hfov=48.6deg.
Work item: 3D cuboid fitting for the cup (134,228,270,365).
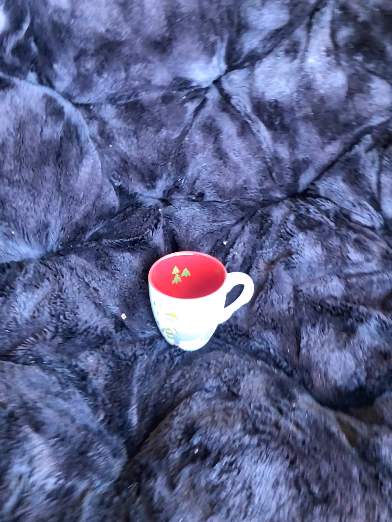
[{"bbox_3d":[0.004,0.044,0.567,0.140,0.110,0.100,-13,43,-16],"label":"cup"}]
